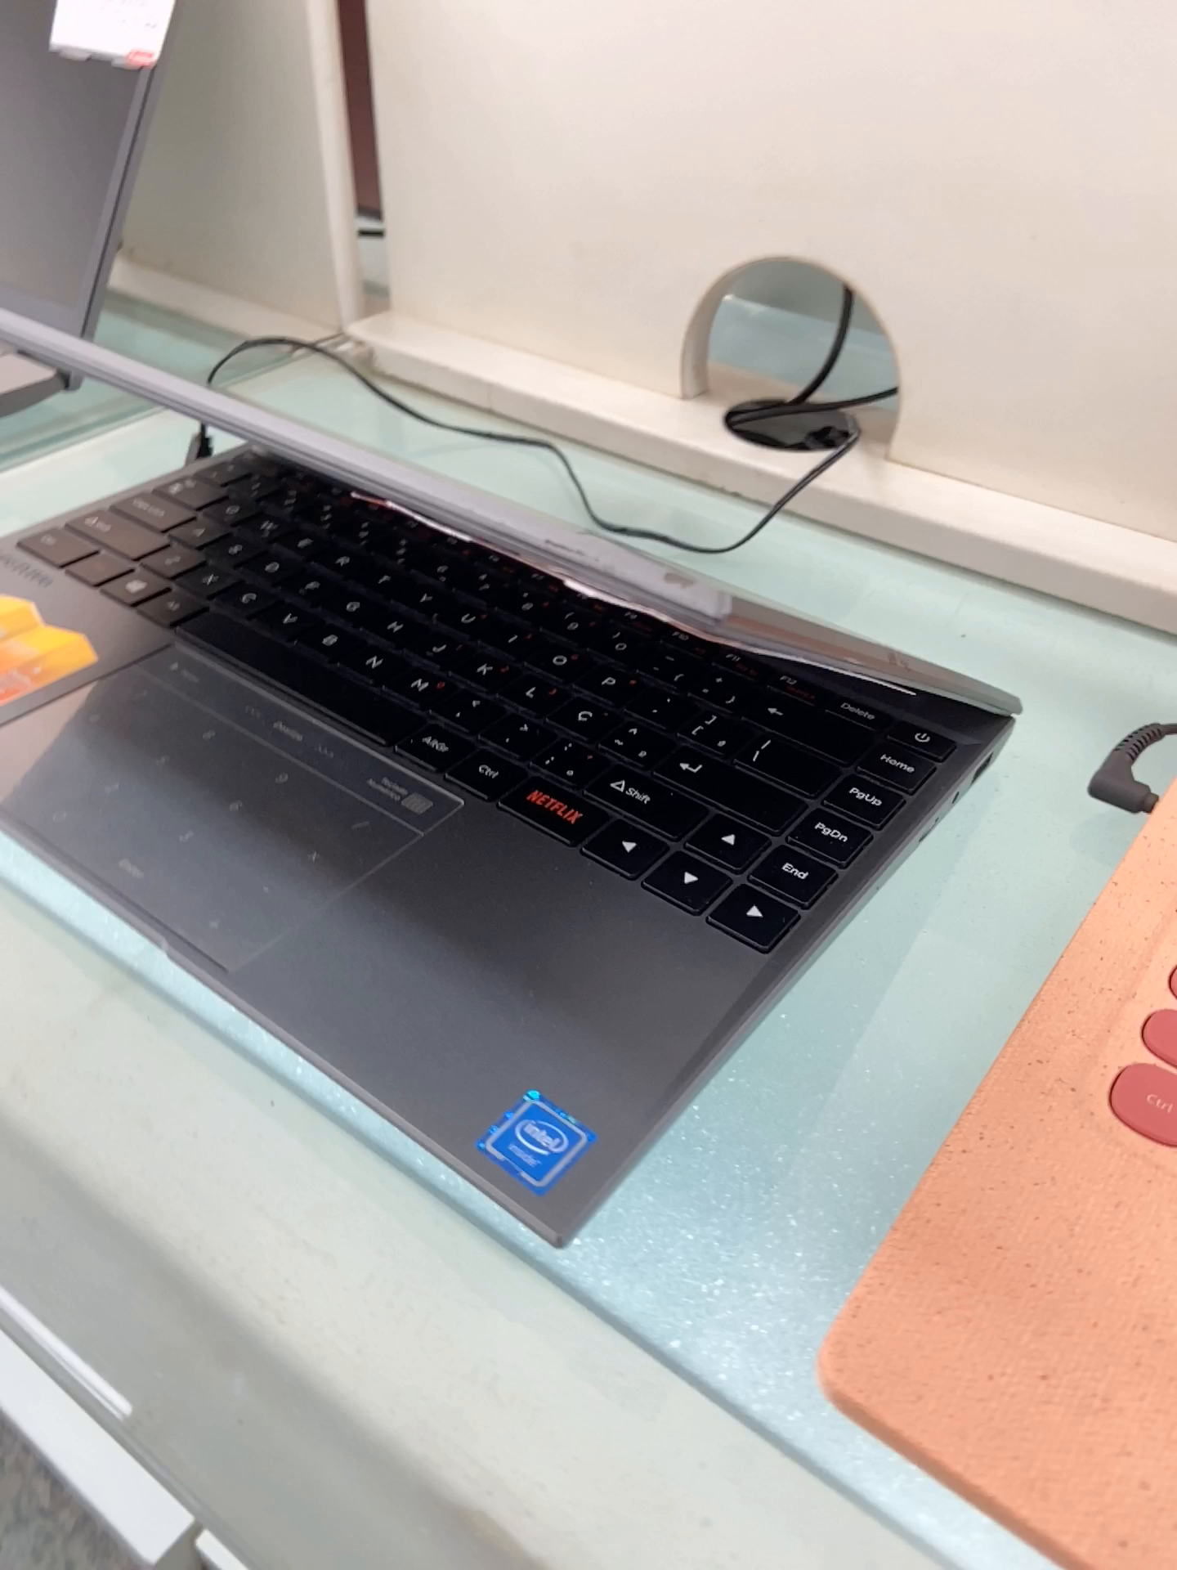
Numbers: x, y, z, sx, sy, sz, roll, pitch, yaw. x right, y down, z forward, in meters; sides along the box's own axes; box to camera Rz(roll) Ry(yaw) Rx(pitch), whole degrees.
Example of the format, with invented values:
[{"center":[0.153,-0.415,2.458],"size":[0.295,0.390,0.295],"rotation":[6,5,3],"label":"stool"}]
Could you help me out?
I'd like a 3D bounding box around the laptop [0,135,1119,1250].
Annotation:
[{"center":[-0.072,-0.076,0.336],"size":[0.334,0.113,0.211],"rotation":[27,46,29],"label":"laptop"}]
